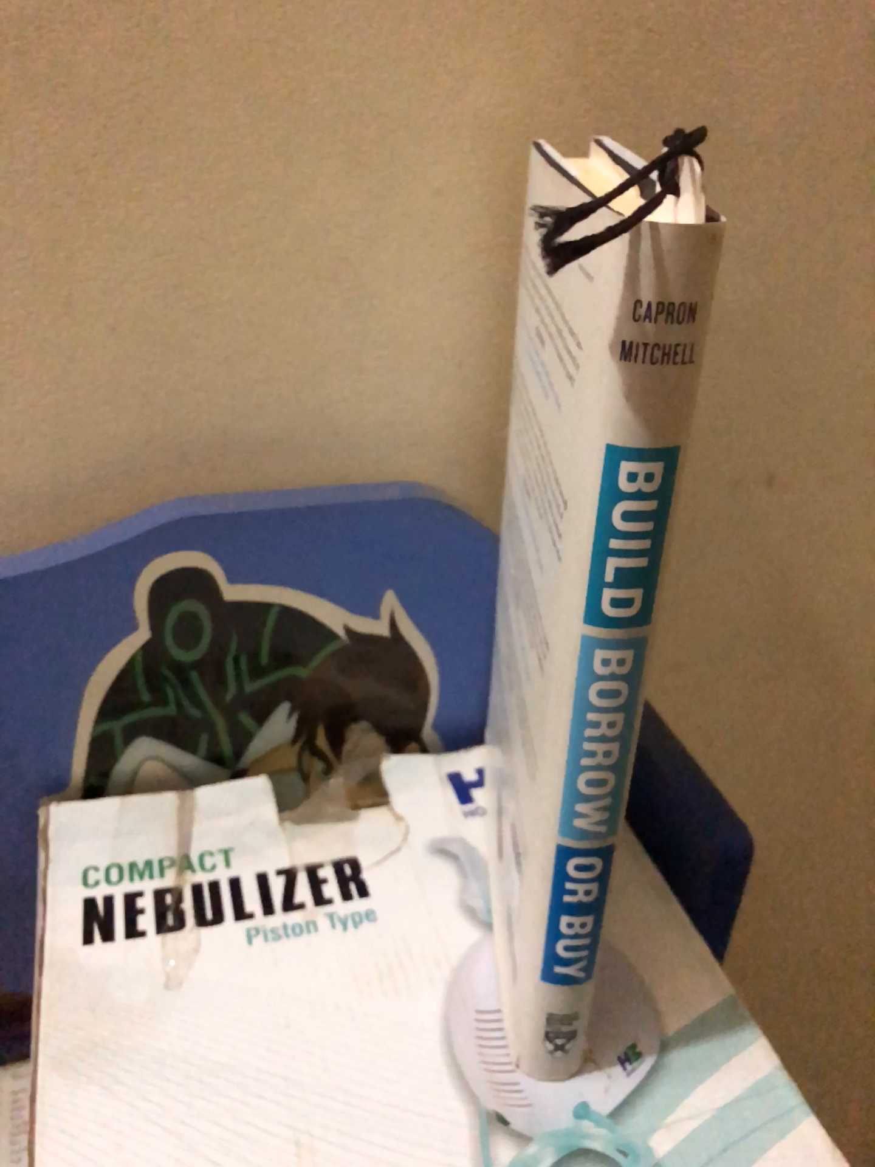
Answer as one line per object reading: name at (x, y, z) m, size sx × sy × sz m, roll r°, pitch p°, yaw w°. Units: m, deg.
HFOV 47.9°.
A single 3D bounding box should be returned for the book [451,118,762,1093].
book at (0.030, -0.003, 0.302) m, size 0.040 × 0.239 × 0.181 m, roll 1°, pitch 30°, yaw -1°
